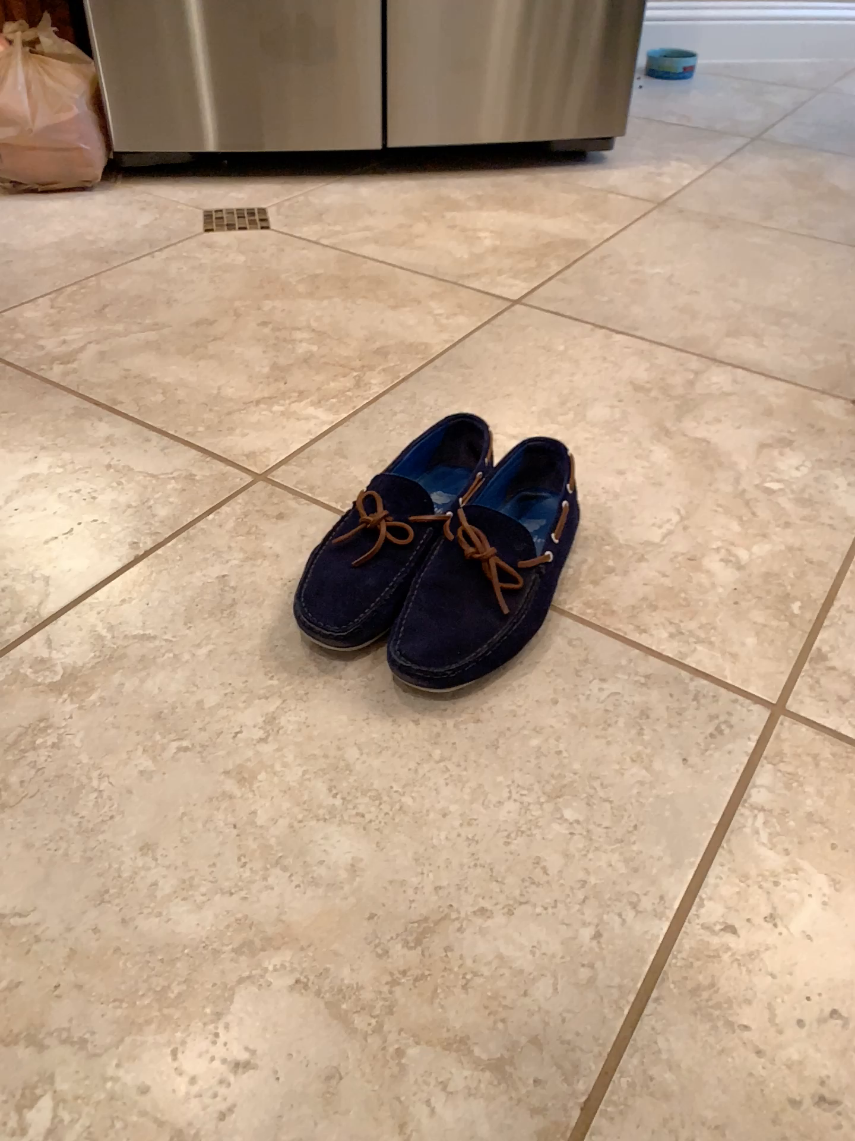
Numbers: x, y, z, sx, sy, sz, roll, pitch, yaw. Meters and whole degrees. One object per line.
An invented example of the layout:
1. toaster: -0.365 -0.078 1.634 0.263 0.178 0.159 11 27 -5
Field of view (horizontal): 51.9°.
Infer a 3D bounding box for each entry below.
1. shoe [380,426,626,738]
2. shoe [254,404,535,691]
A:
1. shoe: 0.070 -0.007 0.706 0.099 0.074 0.282 17 43 18
2. shoe: -0.015 -0.034 0.739 0.099 0.074 0.282 21 44 21
